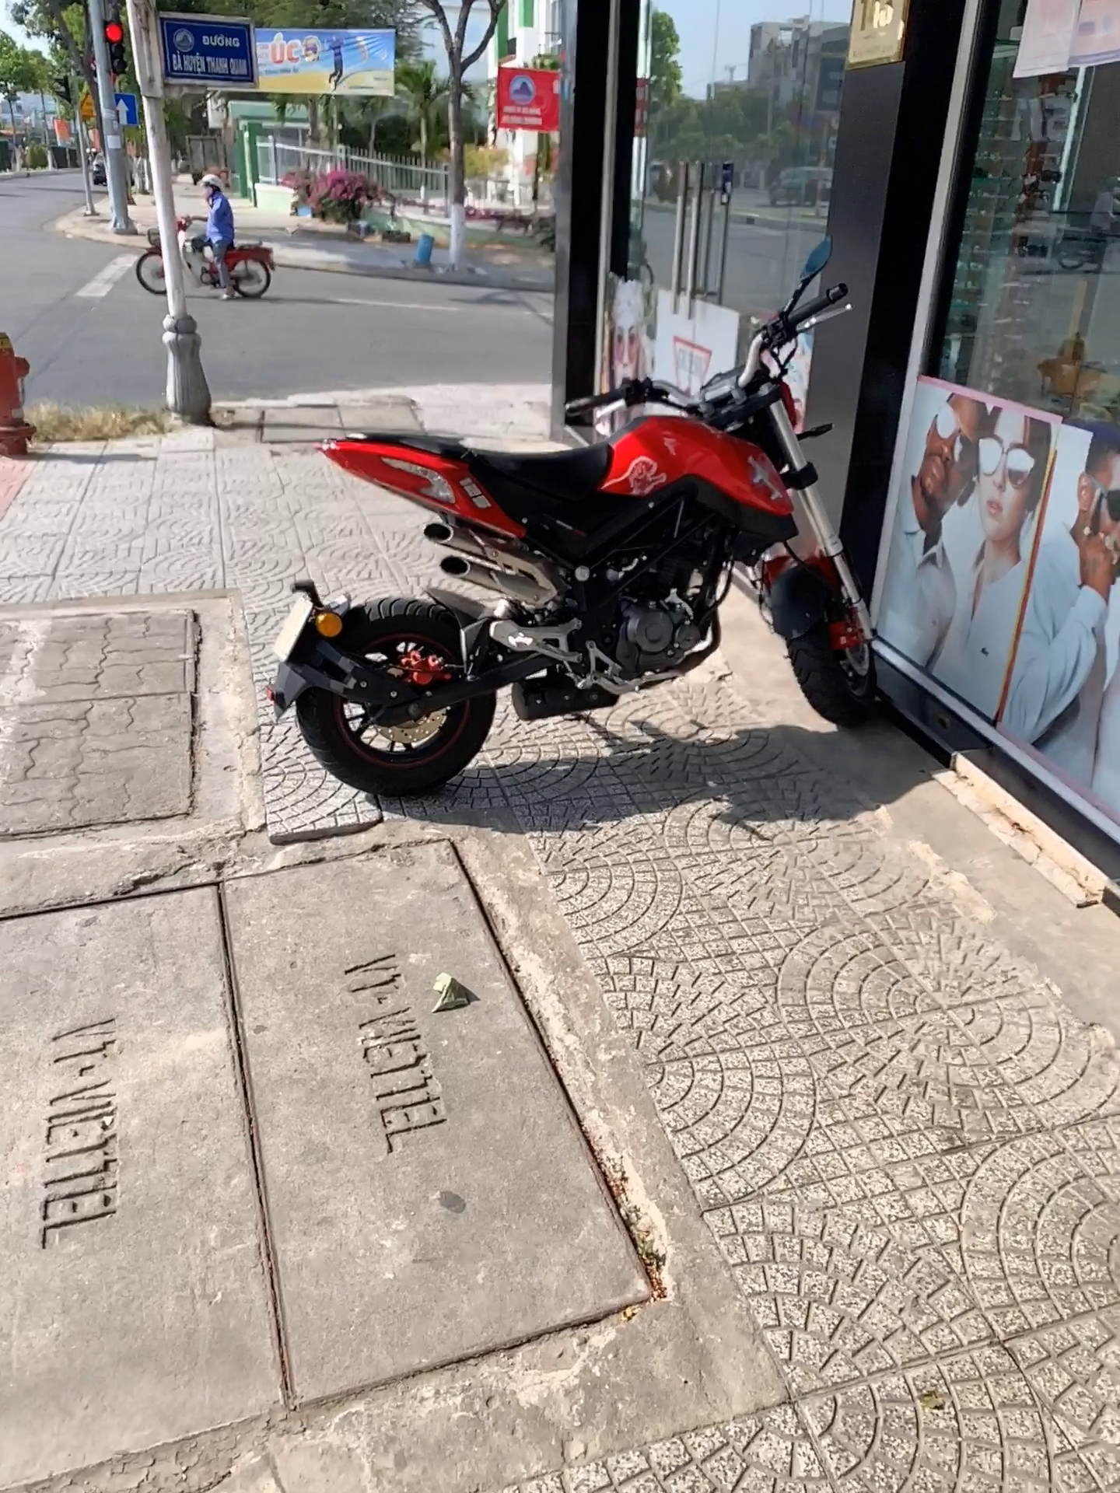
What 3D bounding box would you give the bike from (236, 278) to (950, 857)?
[{"bbox_3d":[0.160,-0.710,3.446,2.123,1.216,0.834,-15,30,-32],"label":"bike"}]
